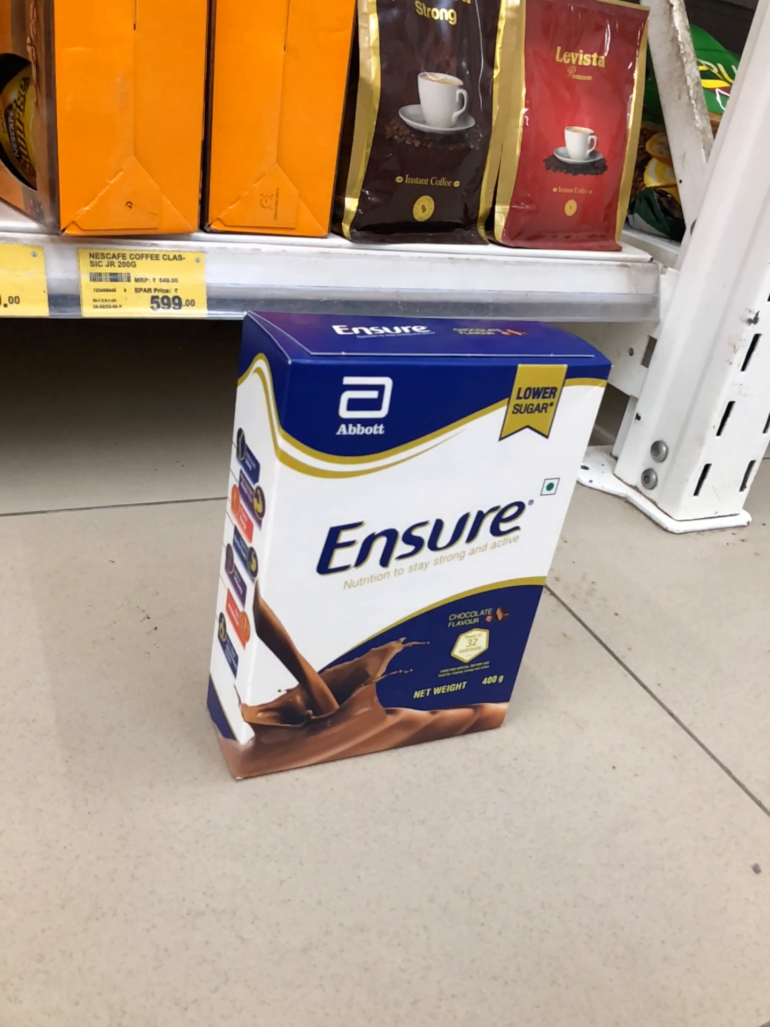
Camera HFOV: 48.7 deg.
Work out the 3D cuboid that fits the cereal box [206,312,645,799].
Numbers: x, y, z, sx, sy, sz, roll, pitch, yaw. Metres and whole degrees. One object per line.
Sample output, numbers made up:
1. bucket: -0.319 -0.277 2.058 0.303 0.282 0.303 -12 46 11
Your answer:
1. cereal box: 0.007 0.016 0.348 0.140 0.179 0.060 -5 32 -24
